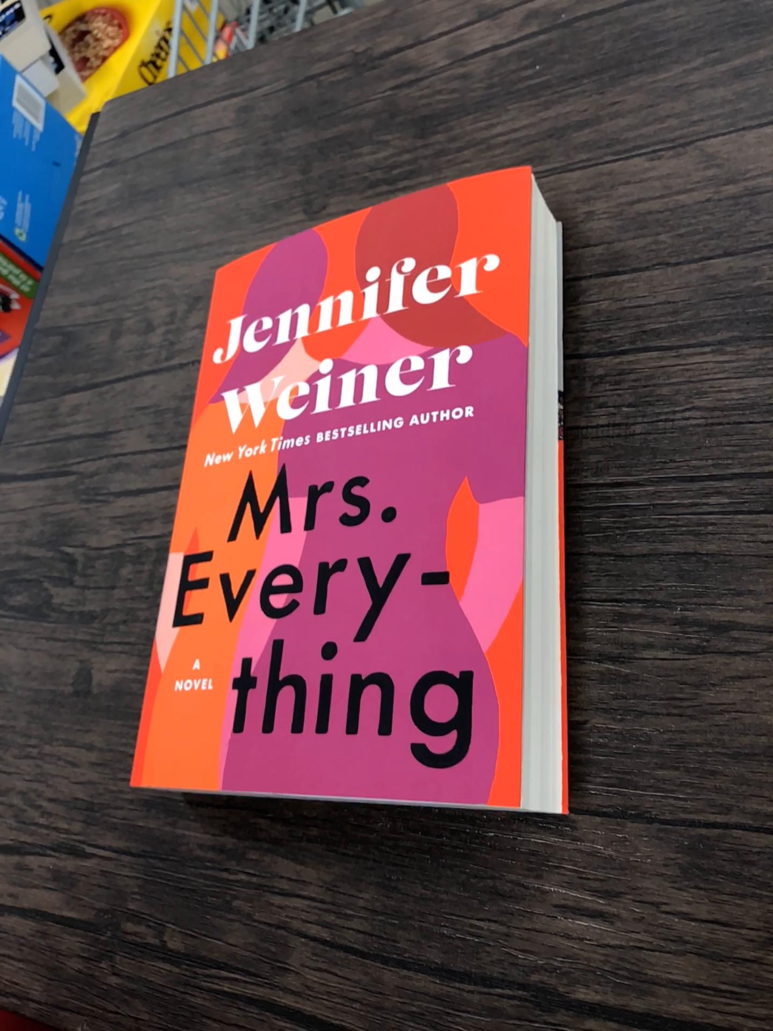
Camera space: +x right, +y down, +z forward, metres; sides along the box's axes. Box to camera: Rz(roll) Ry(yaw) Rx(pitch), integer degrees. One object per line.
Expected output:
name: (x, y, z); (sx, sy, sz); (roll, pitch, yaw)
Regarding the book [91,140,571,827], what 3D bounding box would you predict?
book: (-0.016, -0.010, 0.329); (0.161, 0.046, 0.232); (-7, 67, 28)
